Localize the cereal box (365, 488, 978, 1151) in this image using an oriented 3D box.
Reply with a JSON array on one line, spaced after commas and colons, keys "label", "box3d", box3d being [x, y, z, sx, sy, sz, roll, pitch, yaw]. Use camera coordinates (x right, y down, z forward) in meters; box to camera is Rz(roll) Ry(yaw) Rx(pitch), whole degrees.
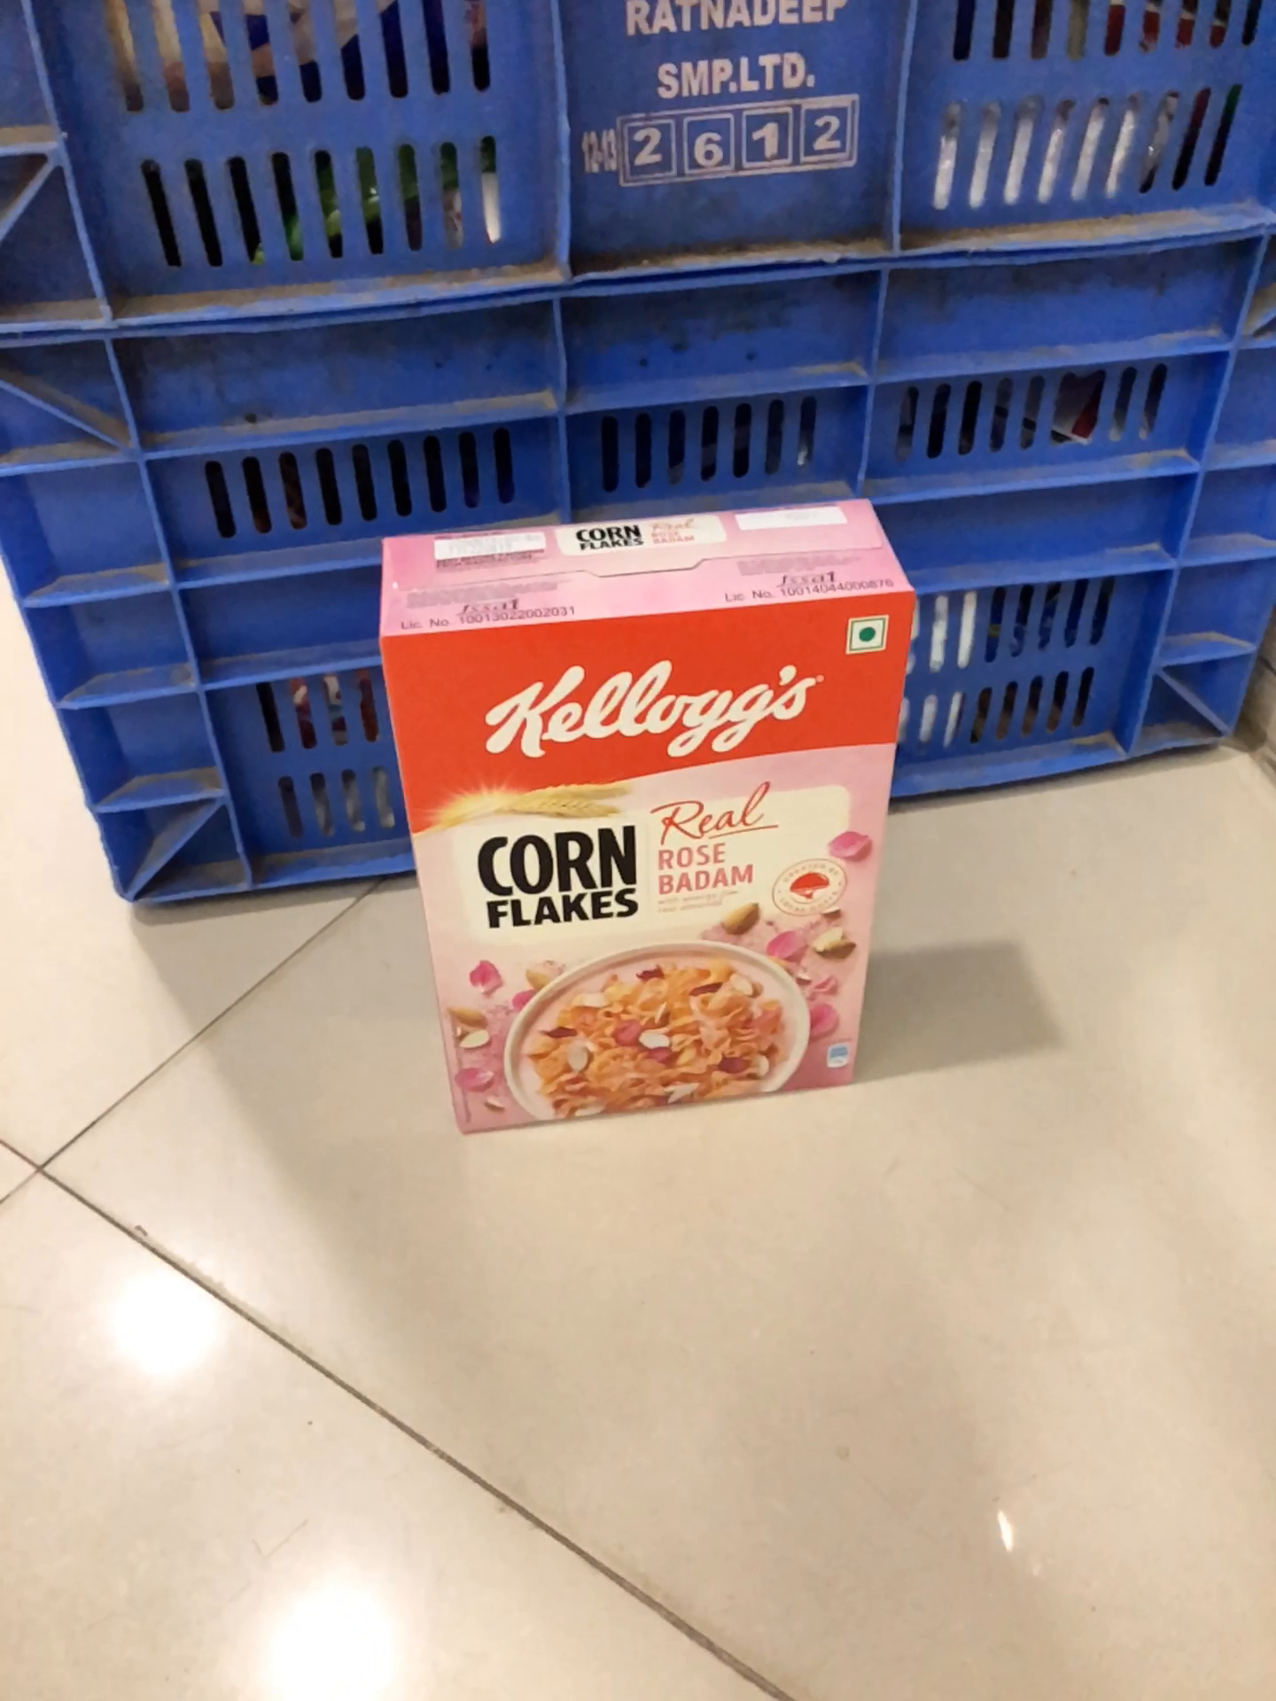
[{"label": "cereal box", "box3d": [0.011, -0.001, 0.566, 0.200, 0.258, 0.070, -7, 41, -6]}]
